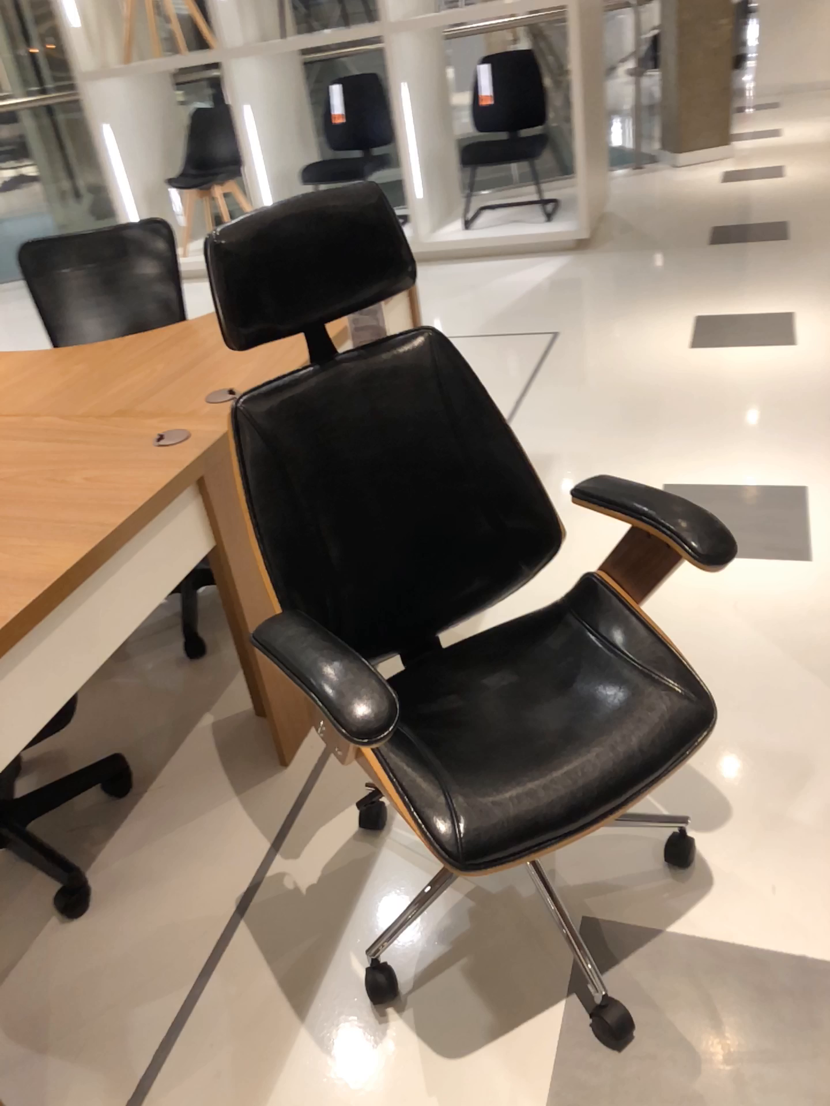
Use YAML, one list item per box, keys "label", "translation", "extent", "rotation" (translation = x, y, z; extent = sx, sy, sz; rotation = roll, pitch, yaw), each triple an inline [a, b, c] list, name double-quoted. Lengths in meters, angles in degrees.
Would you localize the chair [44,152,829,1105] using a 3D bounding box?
- label: "chair"
  translation: [0.090, 0.080, 1.357]
  extent: [0.722, 1.101, 0.764]
  rotation: [-25, 34, -25]
